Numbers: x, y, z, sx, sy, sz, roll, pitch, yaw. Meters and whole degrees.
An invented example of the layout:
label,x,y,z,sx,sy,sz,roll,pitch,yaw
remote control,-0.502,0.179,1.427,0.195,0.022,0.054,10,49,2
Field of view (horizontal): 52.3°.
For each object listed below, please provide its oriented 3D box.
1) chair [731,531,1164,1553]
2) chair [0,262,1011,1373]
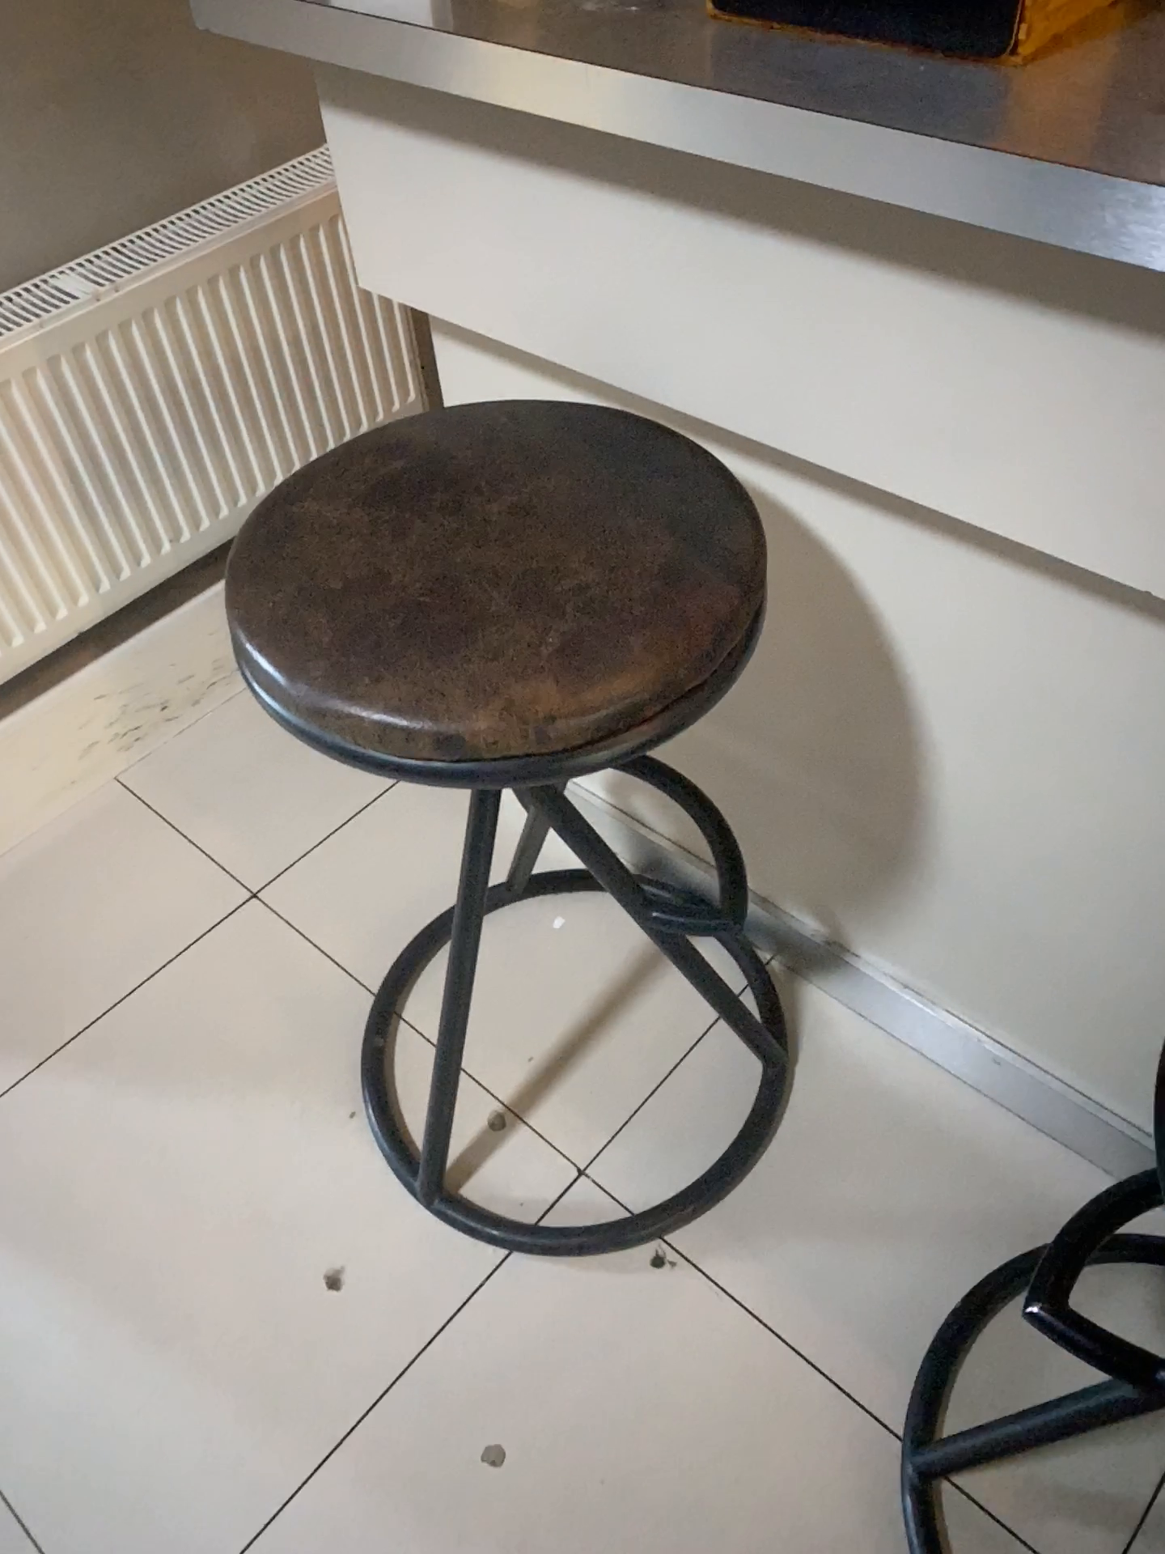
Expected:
label,x,y,z,sx,sy,sz,roll,pitch,yaw
chair,0.482,0.367,0.762,0.552,0.727,0.528,30,57,29
chair,-0.046,0.038,1.132,0.552,0.727,0.548,30,57,29
